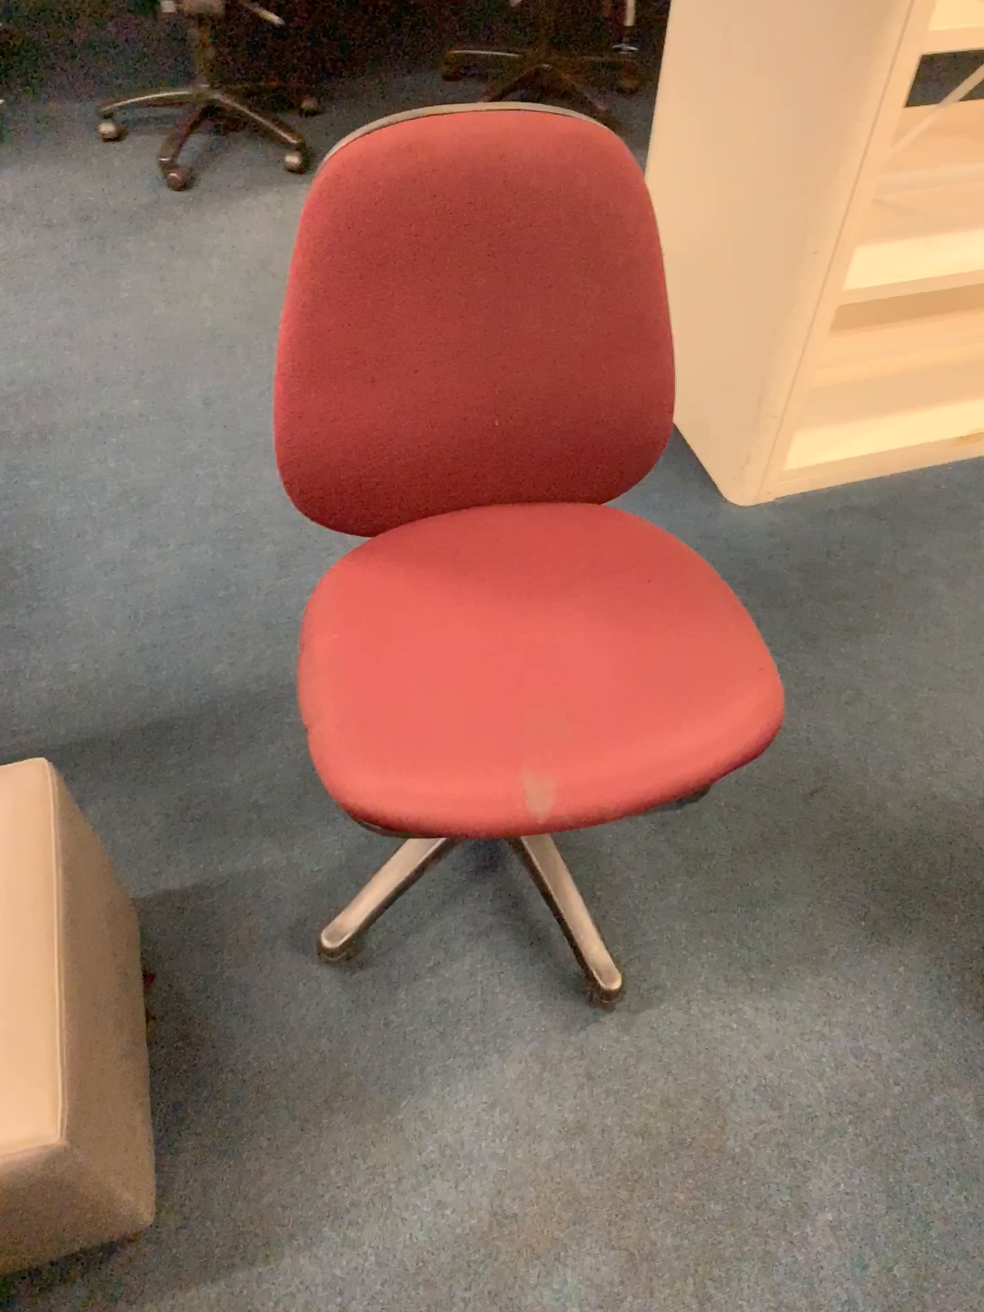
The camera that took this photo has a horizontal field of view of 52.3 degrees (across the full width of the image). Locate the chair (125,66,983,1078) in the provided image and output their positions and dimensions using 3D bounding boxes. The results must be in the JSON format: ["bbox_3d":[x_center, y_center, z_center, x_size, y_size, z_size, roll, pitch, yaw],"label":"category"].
[{"bbox_3d":[0.030,-0.075,1.113,0.650,0.783,0.696,-9,52,-9],"label":"chair"}]
